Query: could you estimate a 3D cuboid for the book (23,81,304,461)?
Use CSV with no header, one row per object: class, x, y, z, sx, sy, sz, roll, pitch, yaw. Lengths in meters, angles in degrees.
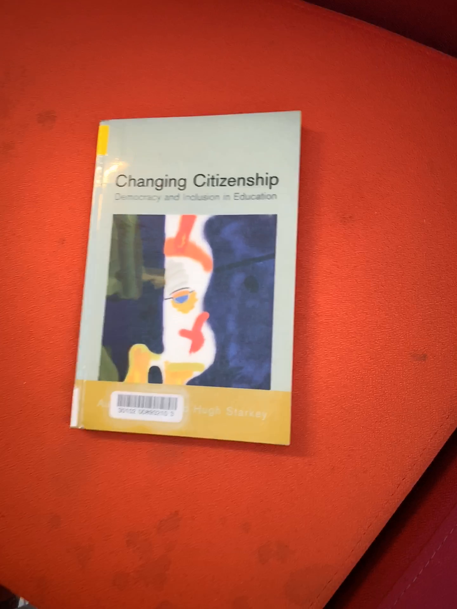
book,-0.040,-0.028,0.337,0.180,0.040,0.250,1,82,10
